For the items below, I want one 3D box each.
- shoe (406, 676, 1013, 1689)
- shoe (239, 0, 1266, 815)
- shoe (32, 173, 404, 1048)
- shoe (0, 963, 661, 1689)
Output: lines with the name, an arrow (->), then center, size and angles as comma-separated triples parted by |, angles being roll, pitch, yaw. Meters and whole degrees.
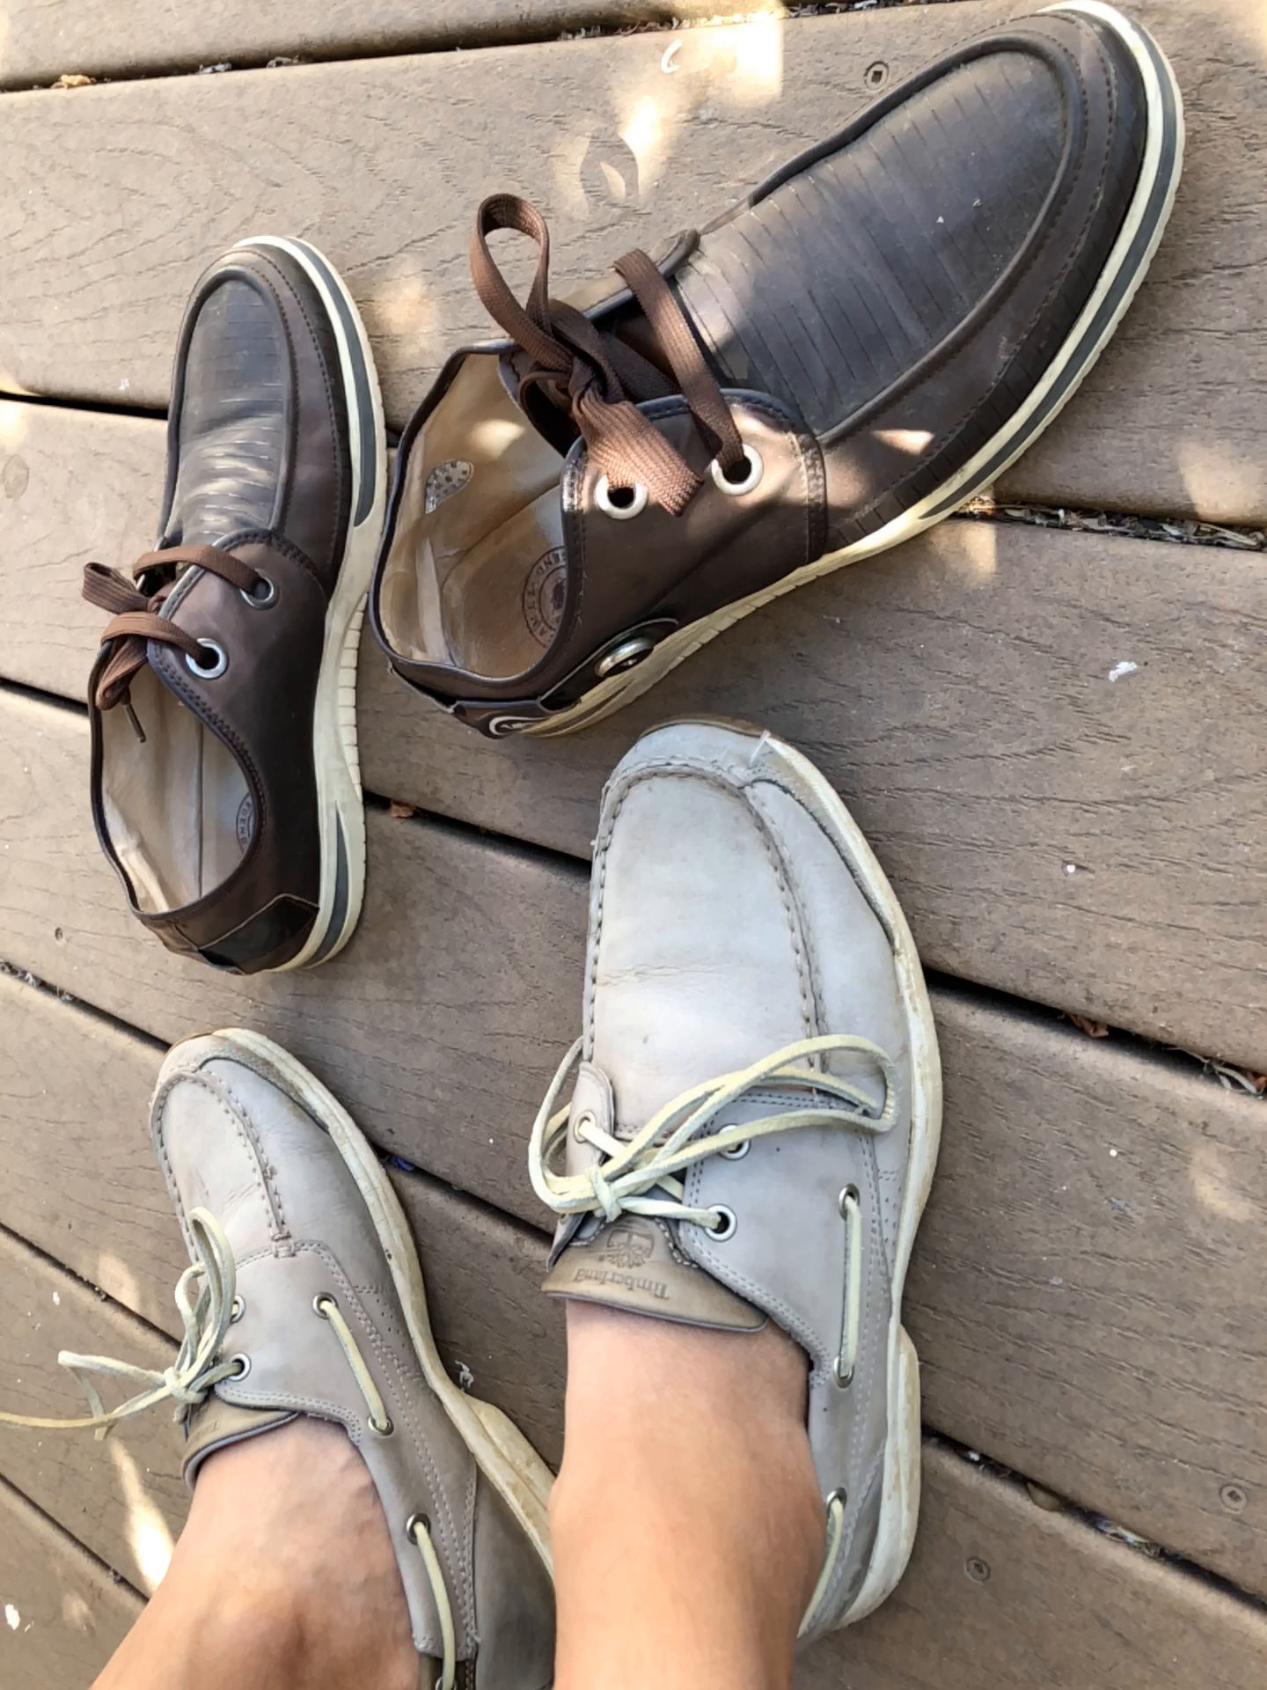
shoe -> 0.025, 0.105, 0.404 | 0.110, 0.101, 0.293 | -5, 92, 34
shoe -> 0.019, -0.119, 0.391 | 0.278, 0.079, 0.109 | -29, 78, 33
shoe -> -0.155, -0.080, 0.507 | 0.110, 0.069, 0.279 | 12, 103, 33
shoe -> -0.127, 0.200, 0.513 | 0.110, 0.086, 0.292 | -43, 71, 29
